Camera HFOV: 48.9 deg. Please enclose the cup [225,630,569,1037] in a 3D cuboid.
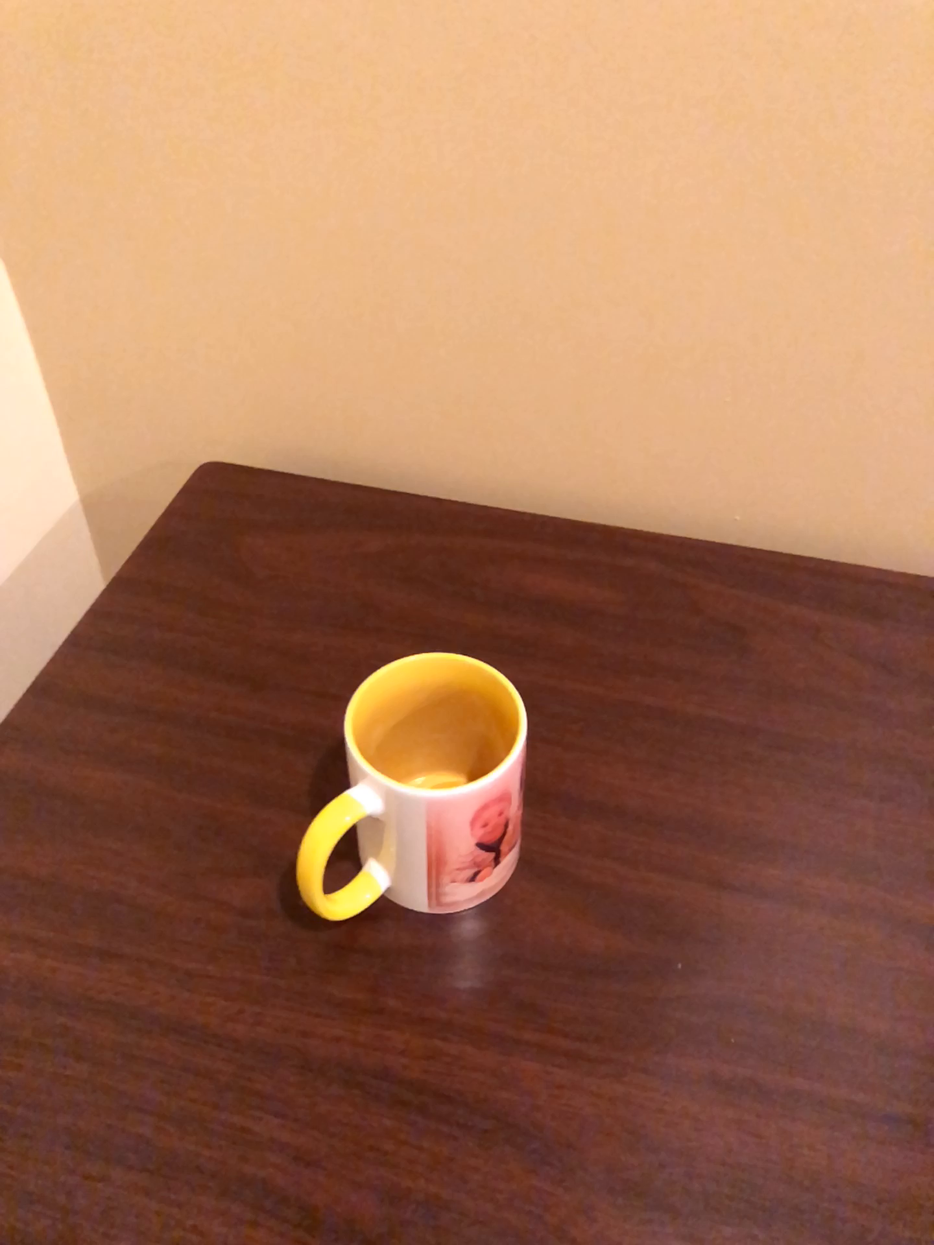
[{"bbox_3d":[-0.026,0.092,0.465,0.090,0.100,0.120,25,49,24],"label":"cup"}]
